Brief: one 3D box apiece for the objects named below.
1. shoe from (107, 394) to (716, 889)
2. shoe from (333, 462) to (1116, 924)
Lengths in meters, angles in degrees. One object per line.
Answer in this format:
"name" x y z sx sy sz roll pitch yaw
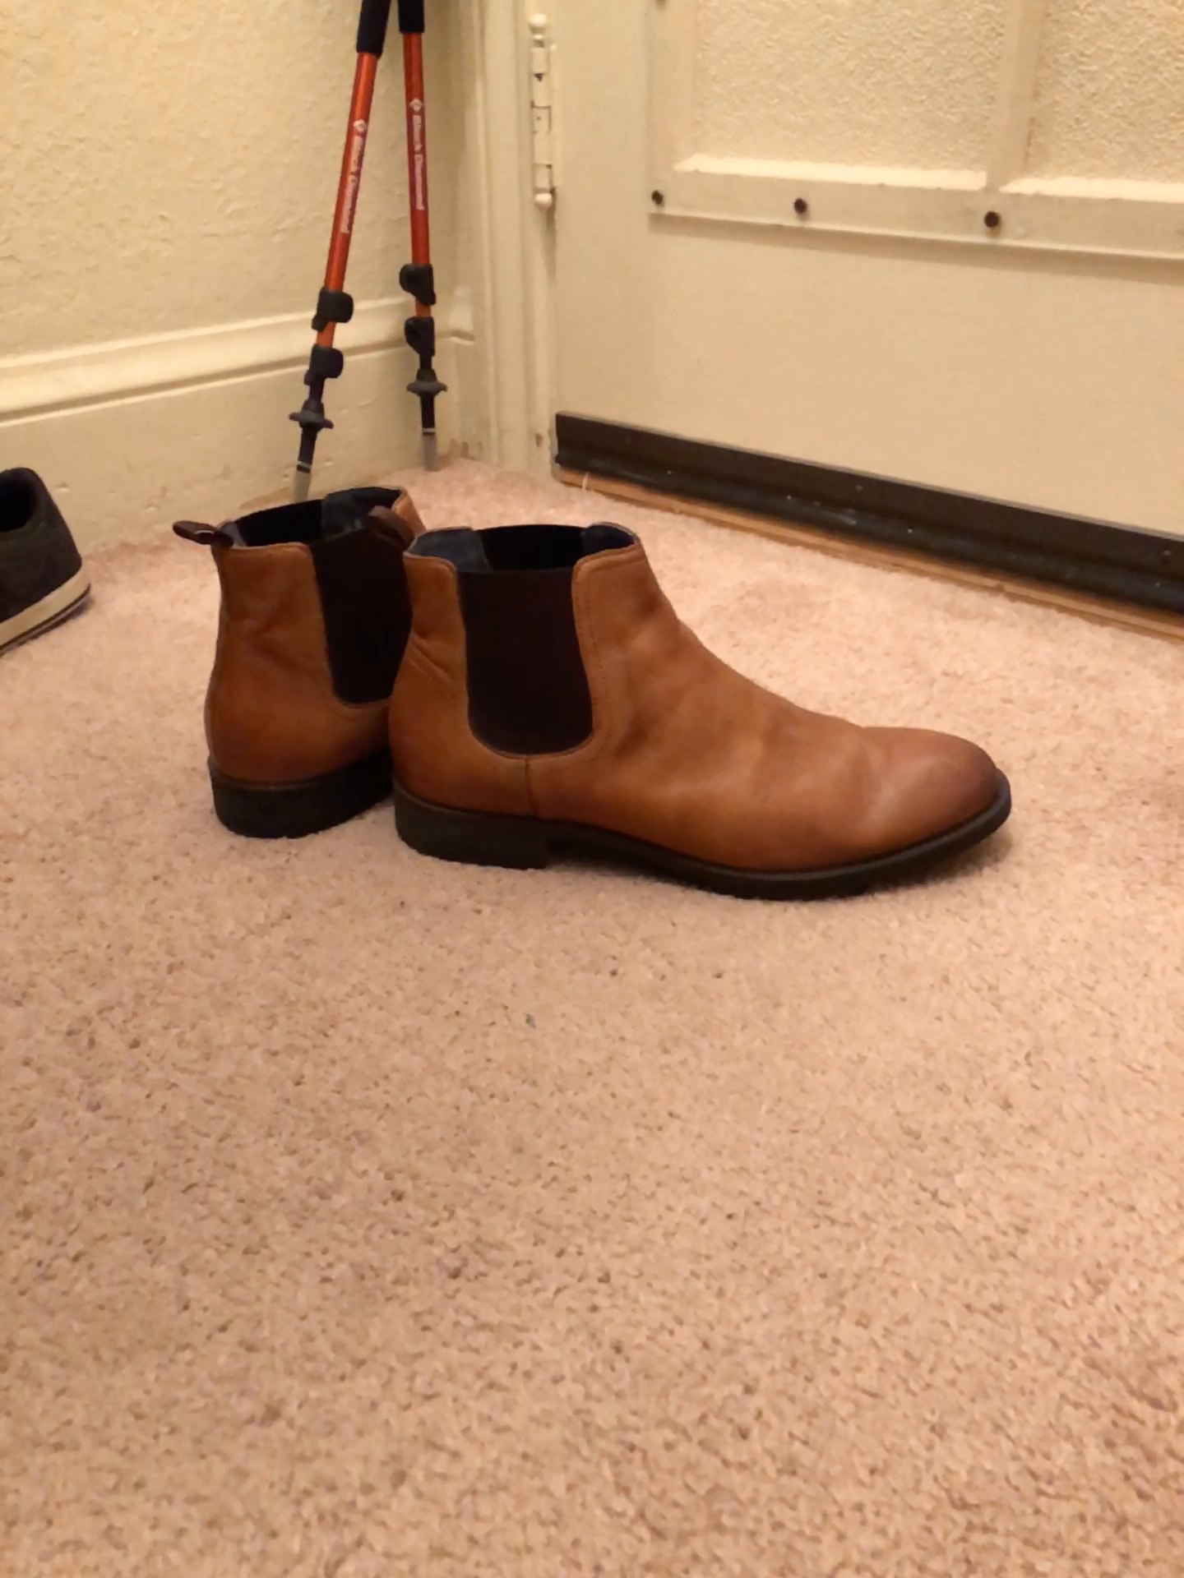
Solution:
"shoe" -0.079 -0.098 0.715 0.313 0.165 0.109 -26 38 -38
"shoe" 0.055 -0.050 0.608 0.312 0.165 0.110 4 30 8
